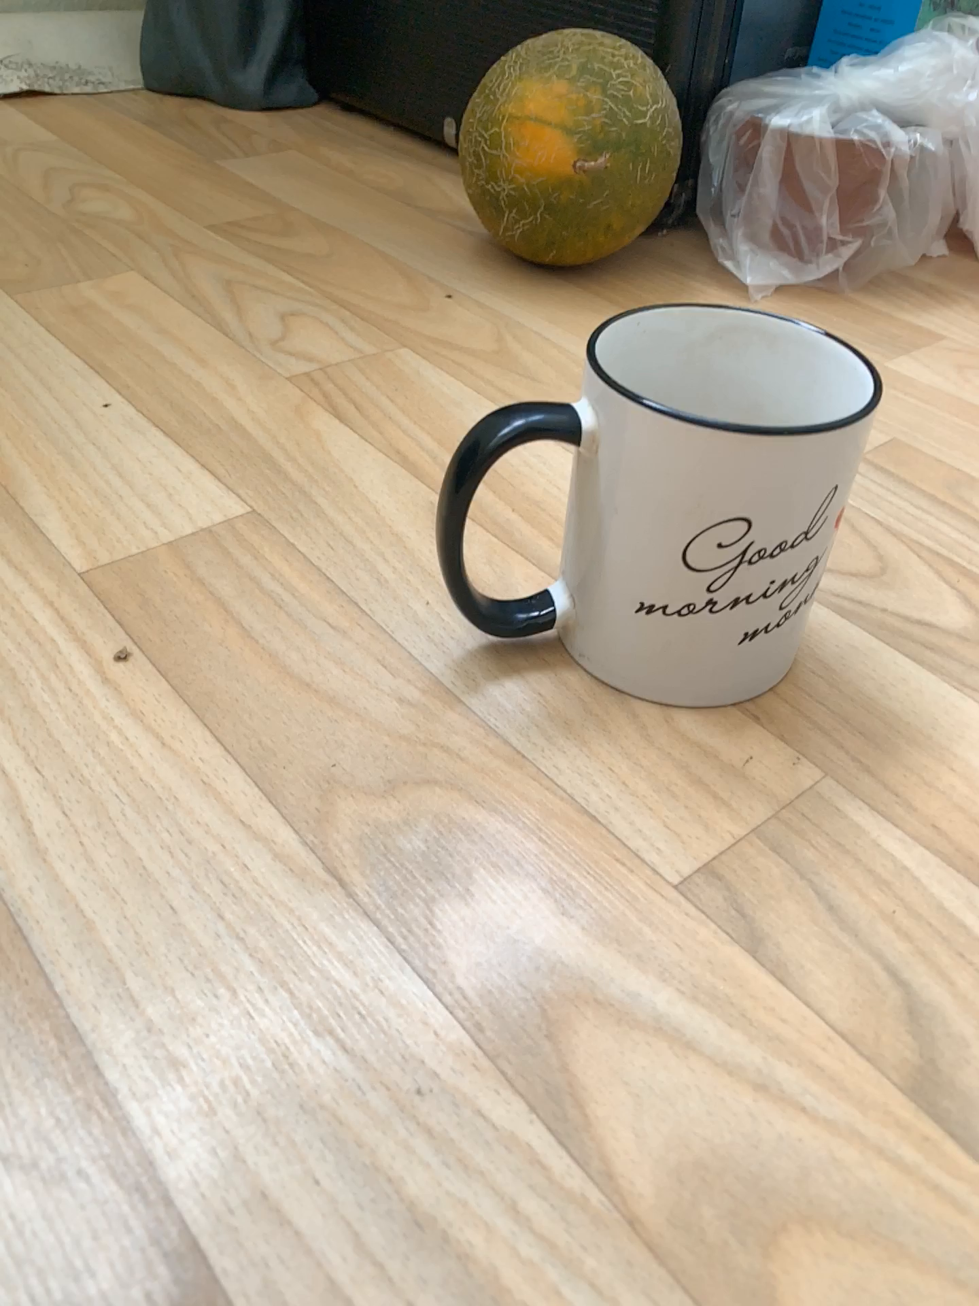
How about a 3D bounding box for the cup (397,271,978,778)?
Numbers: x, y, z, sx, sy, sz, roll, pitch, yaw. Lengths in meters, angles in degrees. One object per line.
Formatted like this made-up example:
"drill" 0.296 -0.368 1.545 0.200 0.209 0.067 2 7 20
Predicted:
"cup" 0.050 -0.042 0.293 0.130 0.100 0.080 -13 44 -22
